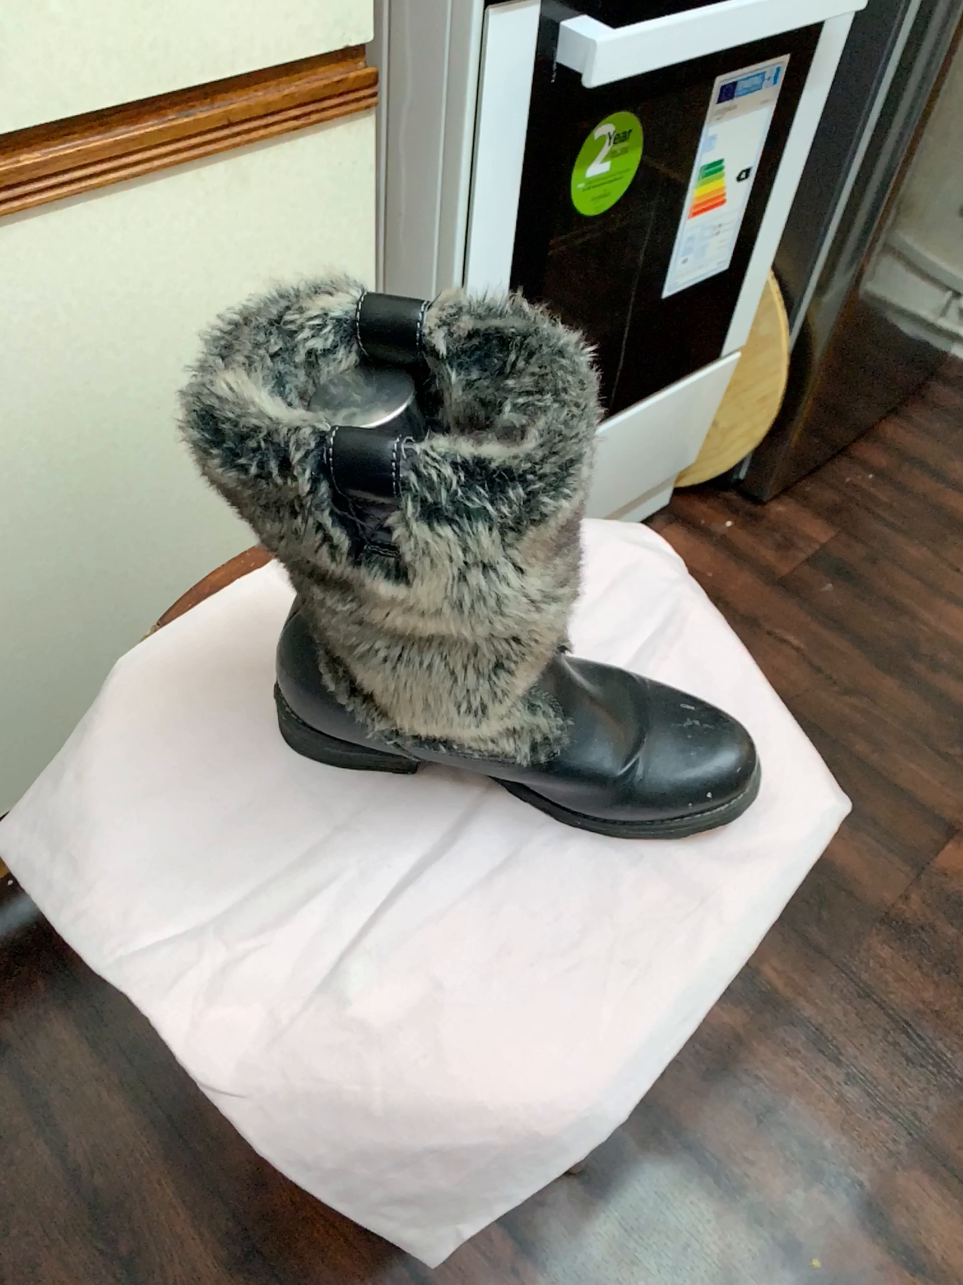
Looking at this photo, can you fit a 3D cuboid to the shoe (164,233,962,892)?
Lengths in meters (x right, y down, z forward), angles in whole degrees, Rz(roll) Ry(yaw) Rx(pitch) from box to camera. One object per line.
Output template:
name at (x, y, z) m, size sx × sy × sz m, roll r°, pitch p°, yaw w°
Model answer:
shoe at (0.028, -0.022, 0.451) m, size 0.270 × 0.238 × 0.121 m, roll 11°, pitch 49°, yaw 3°
